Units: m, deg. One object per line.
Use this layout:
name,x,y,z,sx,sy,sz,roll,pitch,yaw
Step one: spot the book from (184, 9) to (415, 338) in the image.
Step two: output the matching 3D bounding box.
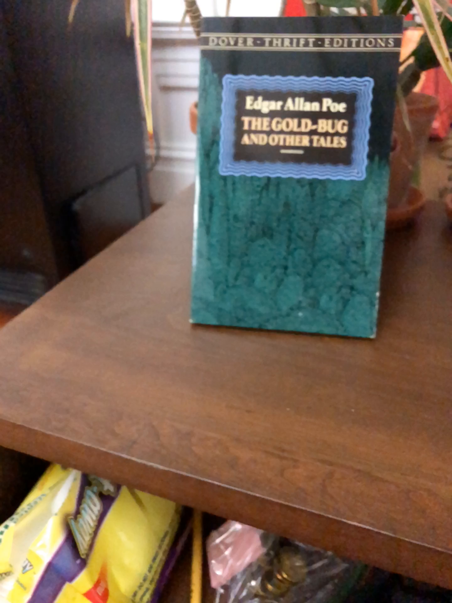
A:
book,0.046,-0.085,0.352,0.140,0.210,0.020,4,8,8
